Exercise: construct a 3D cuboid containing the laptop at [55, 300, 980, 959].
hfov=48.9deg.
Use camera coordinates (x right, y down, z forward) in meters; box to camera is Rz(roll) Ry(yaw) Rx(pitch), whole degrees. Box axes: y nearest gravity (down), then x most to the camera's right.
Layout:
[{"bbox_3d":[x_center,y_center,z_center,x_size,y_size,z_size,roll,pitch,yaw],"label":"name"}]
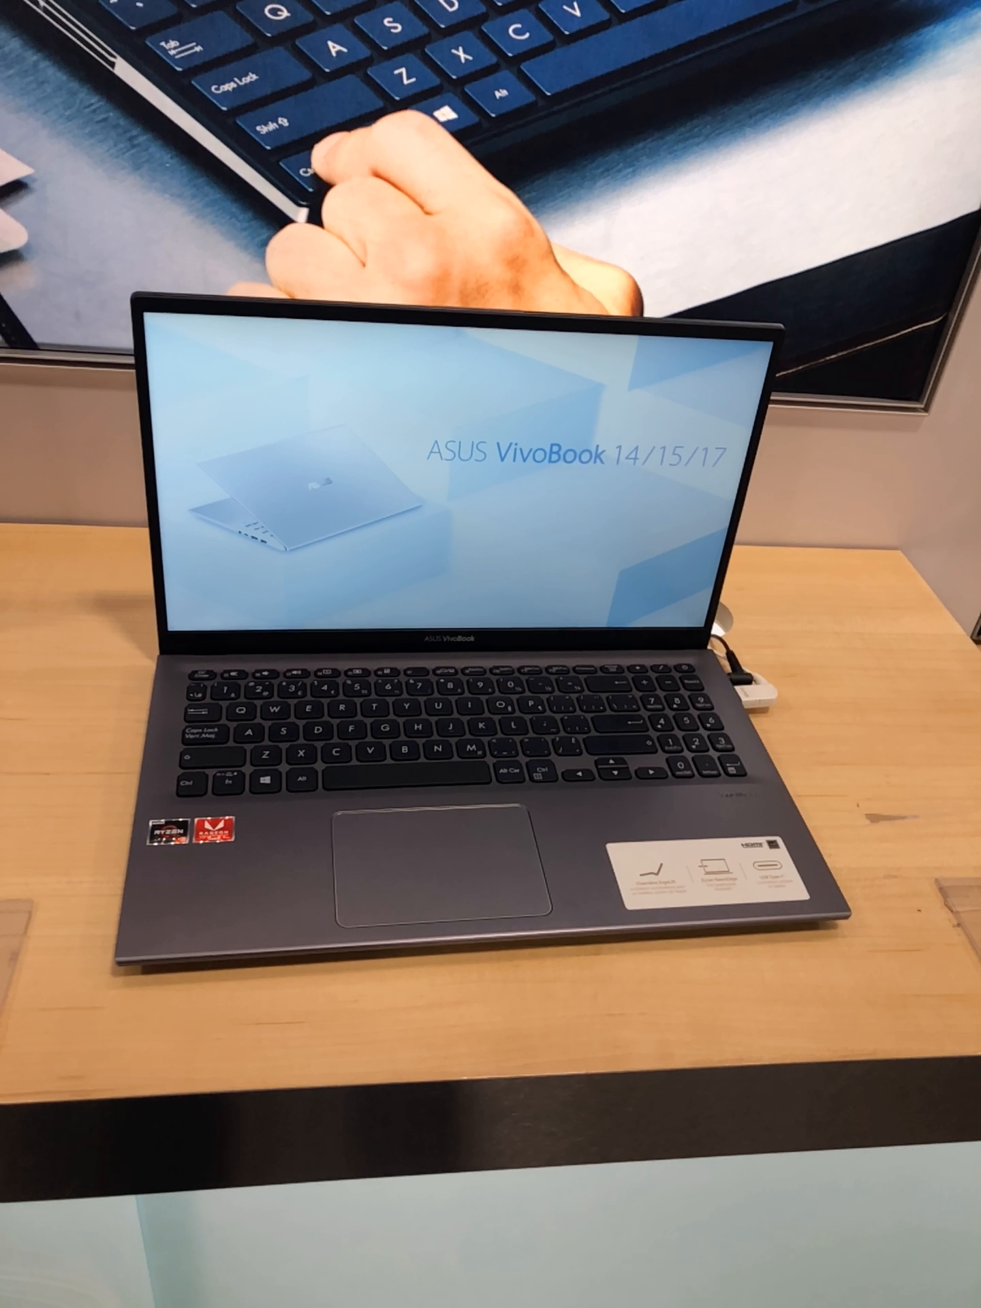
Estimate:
[{"bbox_3d":[0.001,-0.023,0.537,0.349,0.211,0.243,0,36,-10],"label":"laptop"}]
